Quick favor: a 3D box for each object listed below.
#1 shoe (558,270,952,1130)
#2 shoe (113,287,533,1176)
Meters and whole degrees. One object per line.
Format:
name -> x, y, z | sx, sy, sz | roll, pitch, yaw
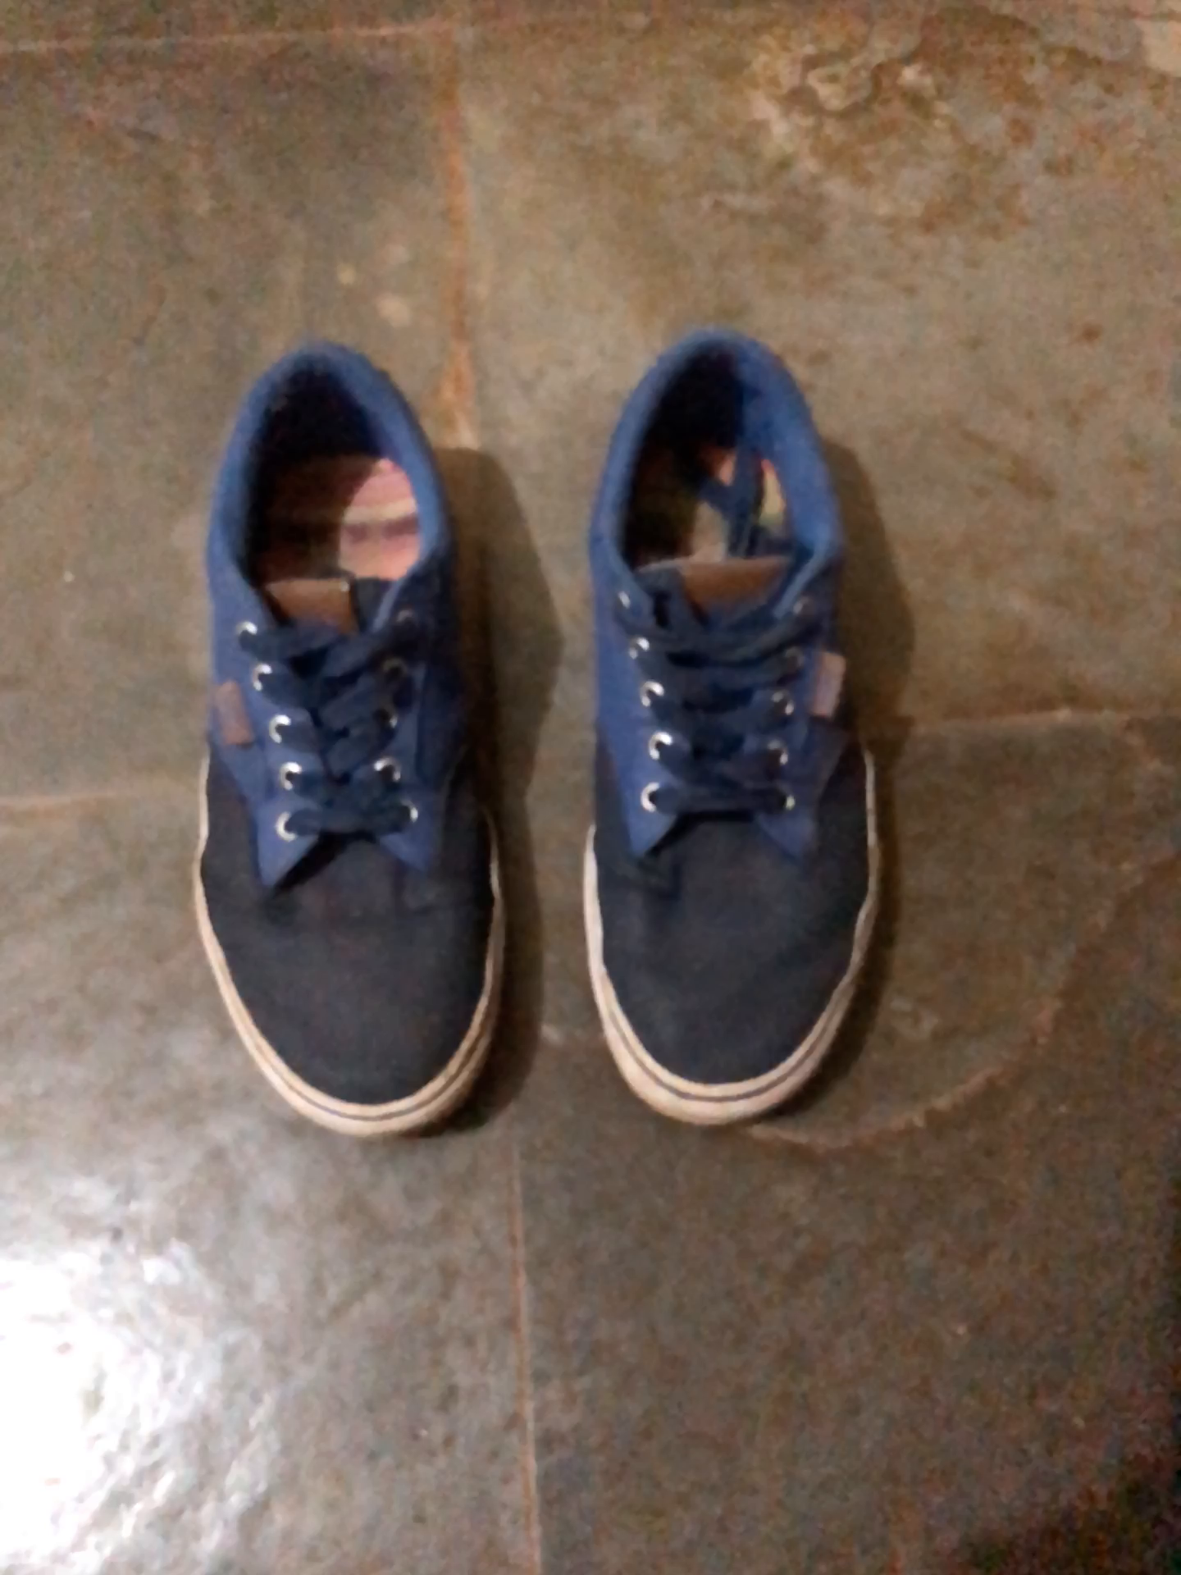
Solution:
shoe -> 0.046, -0.035, 0.459 | 0.110, 0.080, 0.291 | 1, 69, -1
shoe -> -0.088, -0.024, 0.442 | 0.110, 0.080, 0.281 | -5, 69, -3
